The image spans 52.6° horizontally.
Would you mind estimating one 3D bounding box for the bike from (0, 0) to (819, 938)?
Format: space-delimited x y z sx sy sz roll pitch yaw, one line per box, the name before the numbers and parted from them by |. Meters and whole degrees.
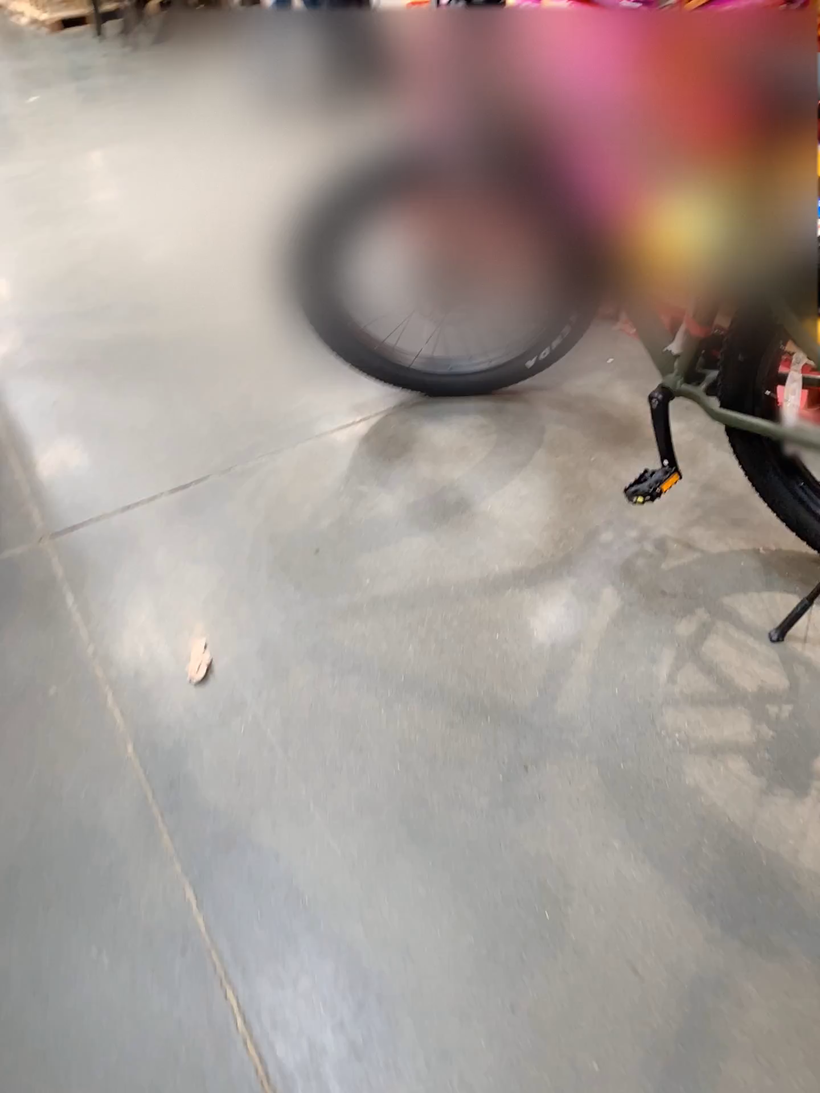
bike | 0.331 -0.389 1.212 1.716 1.204 0.593 21 47 20
